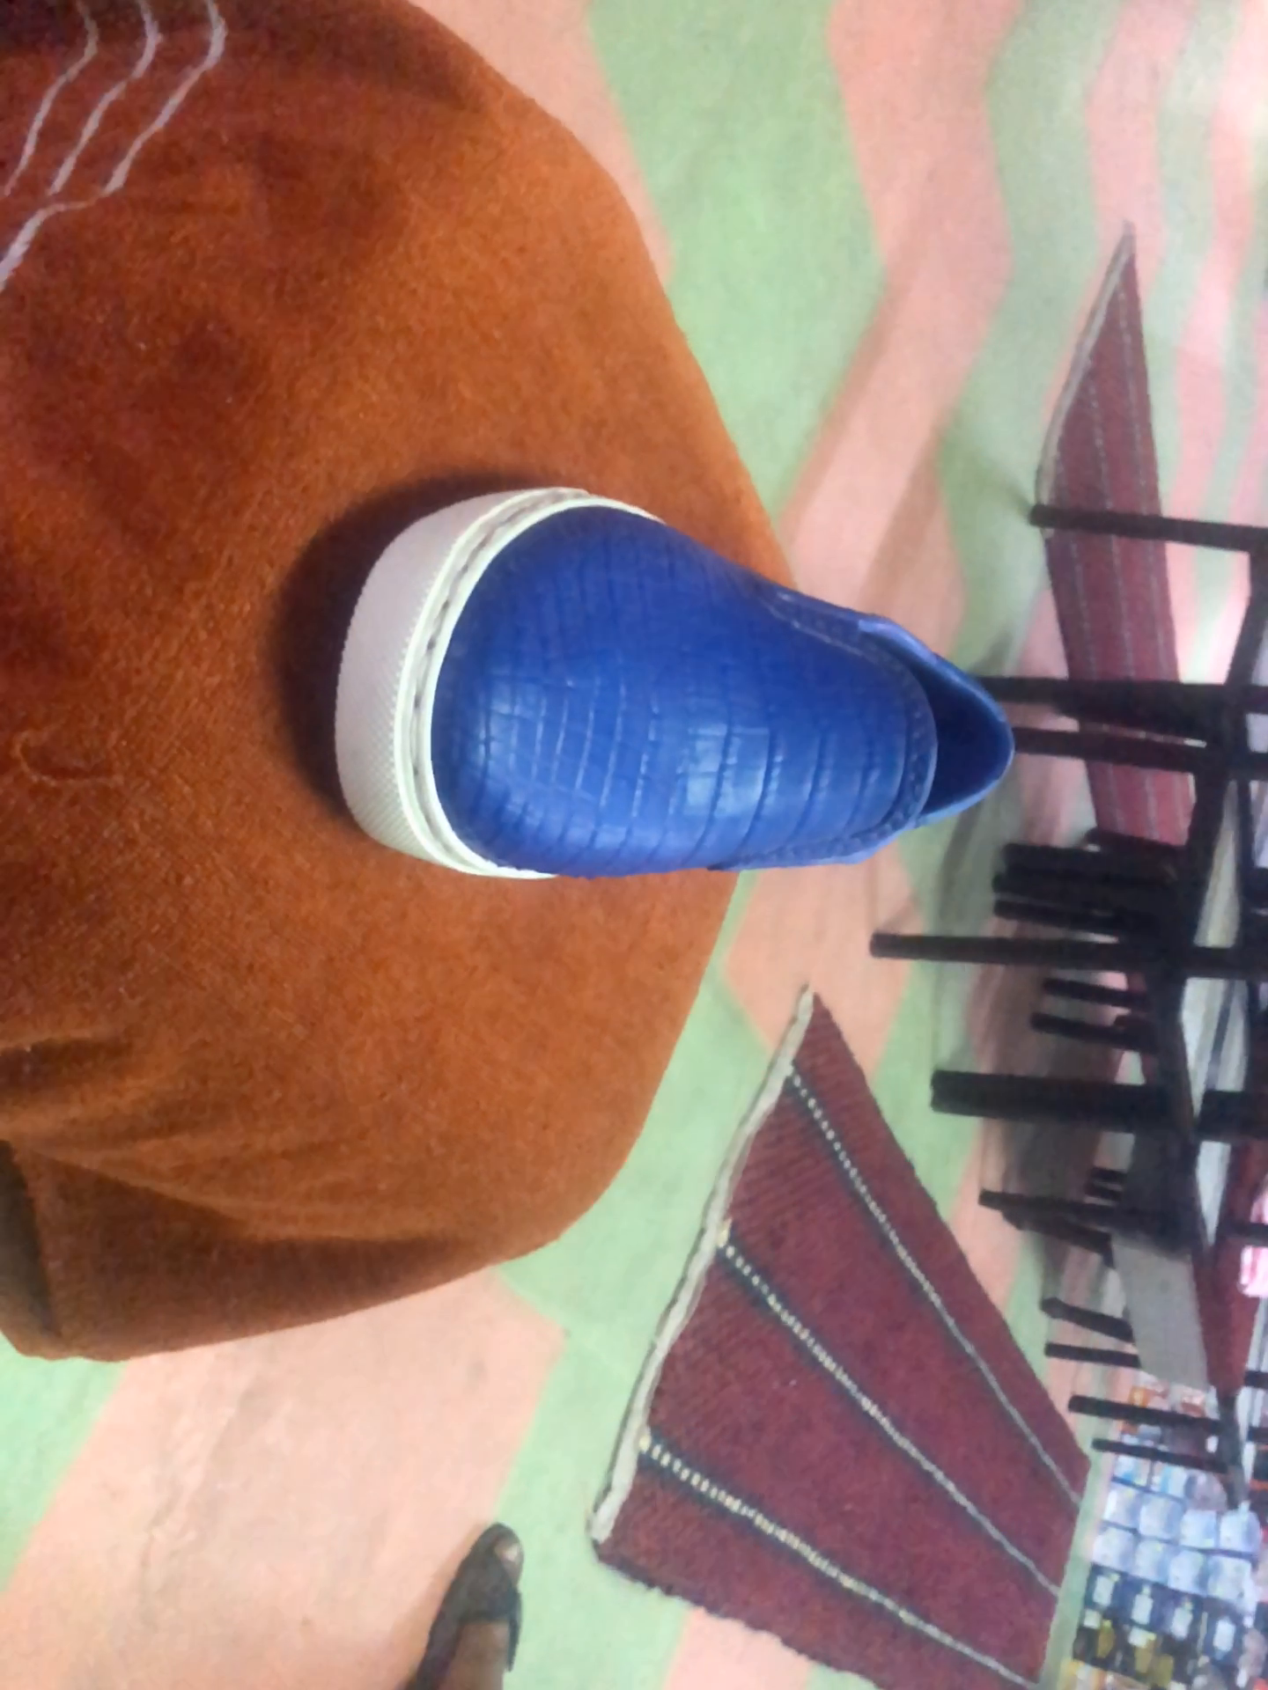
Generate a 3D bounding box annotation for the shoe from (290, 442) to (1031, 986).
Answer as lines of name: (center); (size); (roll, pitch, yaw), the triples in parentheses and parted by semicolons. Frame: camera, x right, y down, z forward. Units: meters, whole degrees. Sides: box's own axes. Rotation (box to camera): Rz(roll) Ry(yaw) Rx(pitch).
shoe: (0.035, -0.041, 0.433); (0.302, 0.079, 0.110); (-8, 104, -59)
